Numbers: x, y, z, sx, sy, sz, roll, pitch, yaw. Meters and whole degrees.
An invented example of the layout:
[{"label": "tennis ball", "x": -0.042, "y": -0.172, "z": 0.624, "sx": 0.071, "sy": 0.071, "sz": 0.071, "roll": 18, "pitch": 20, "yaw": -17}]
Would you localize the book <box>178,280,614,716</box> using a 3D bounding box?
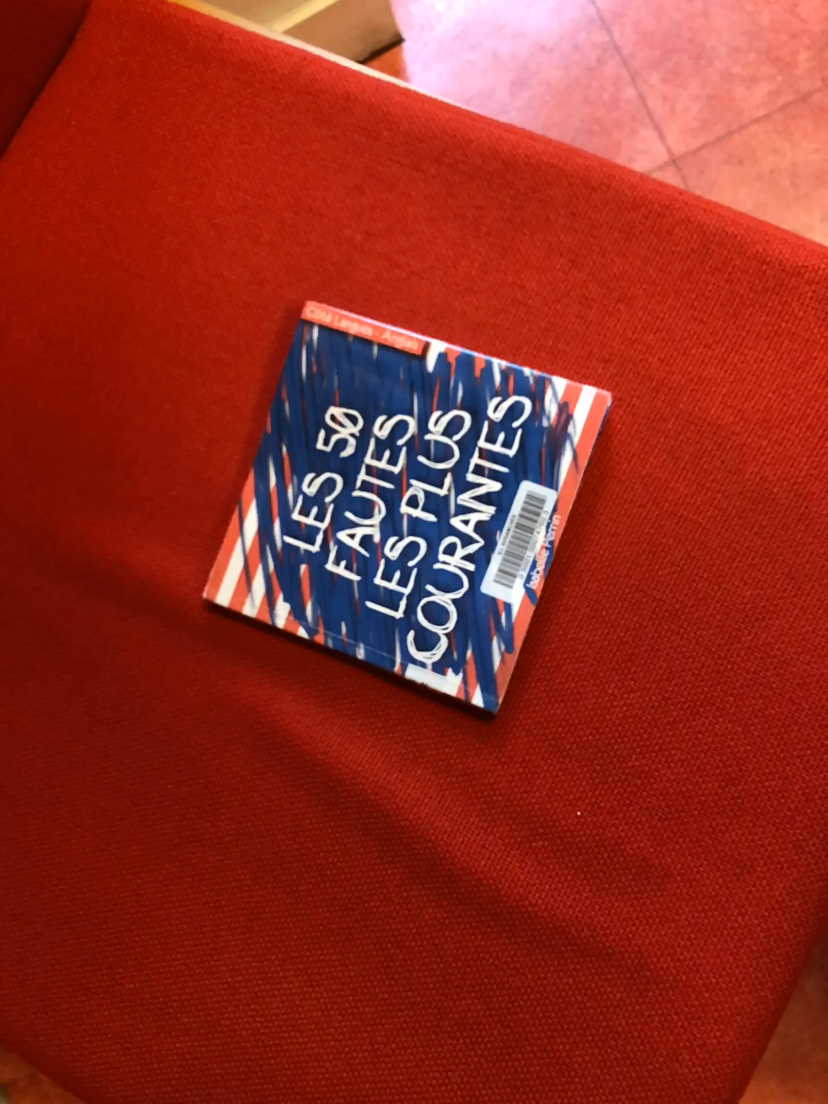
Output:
[{"label": "book", "x": -0.010, "y": -0.027, "z": 0.400, "sx": 0.148, "sy": 0.020, "sz": 0.148, "roll": 20, "pitch": 89, "yaw": 15}]
